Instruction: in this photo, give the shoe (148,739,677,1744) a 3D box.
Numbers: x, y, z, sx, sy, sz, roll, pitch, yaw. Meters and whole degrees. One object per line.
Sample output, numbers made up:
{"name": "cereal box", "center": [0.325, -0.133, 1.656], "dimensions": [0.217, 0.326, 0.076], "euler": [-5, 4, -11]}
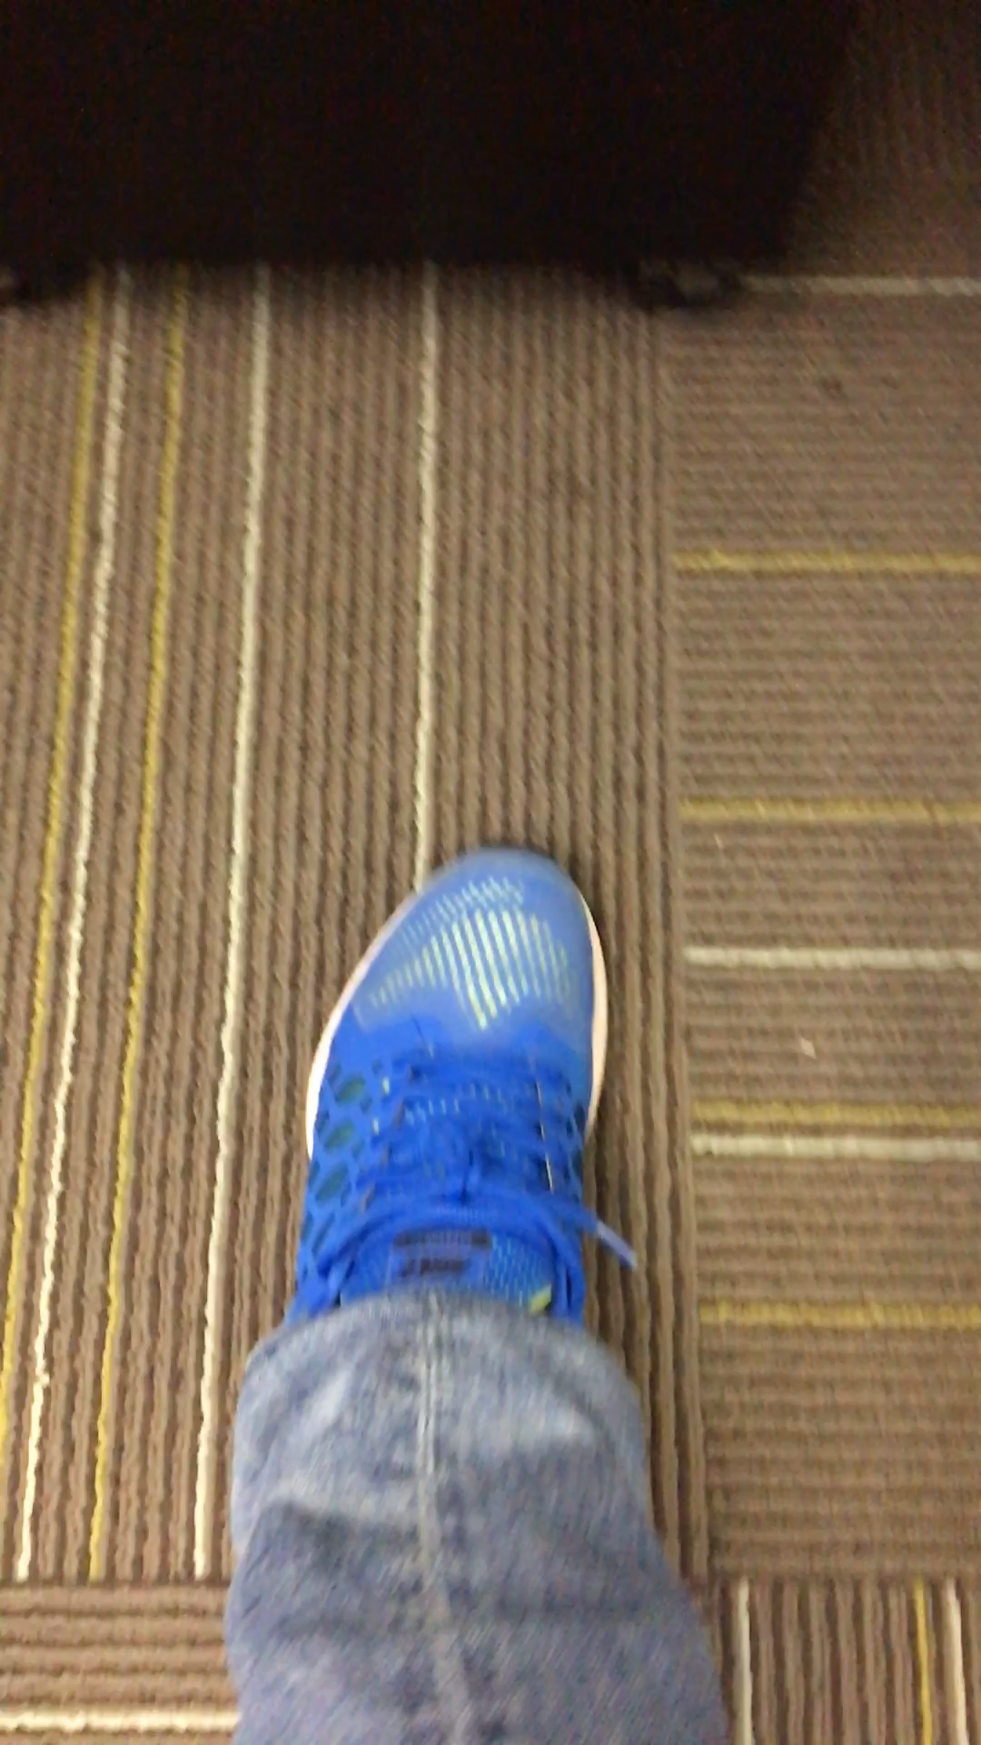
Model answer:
{"name": "shoe", "center": [-0.017, 0.117, 0.496], "dimensions": [0.120, 0.110, 0.290], "euler": [7, 72, 1]}
